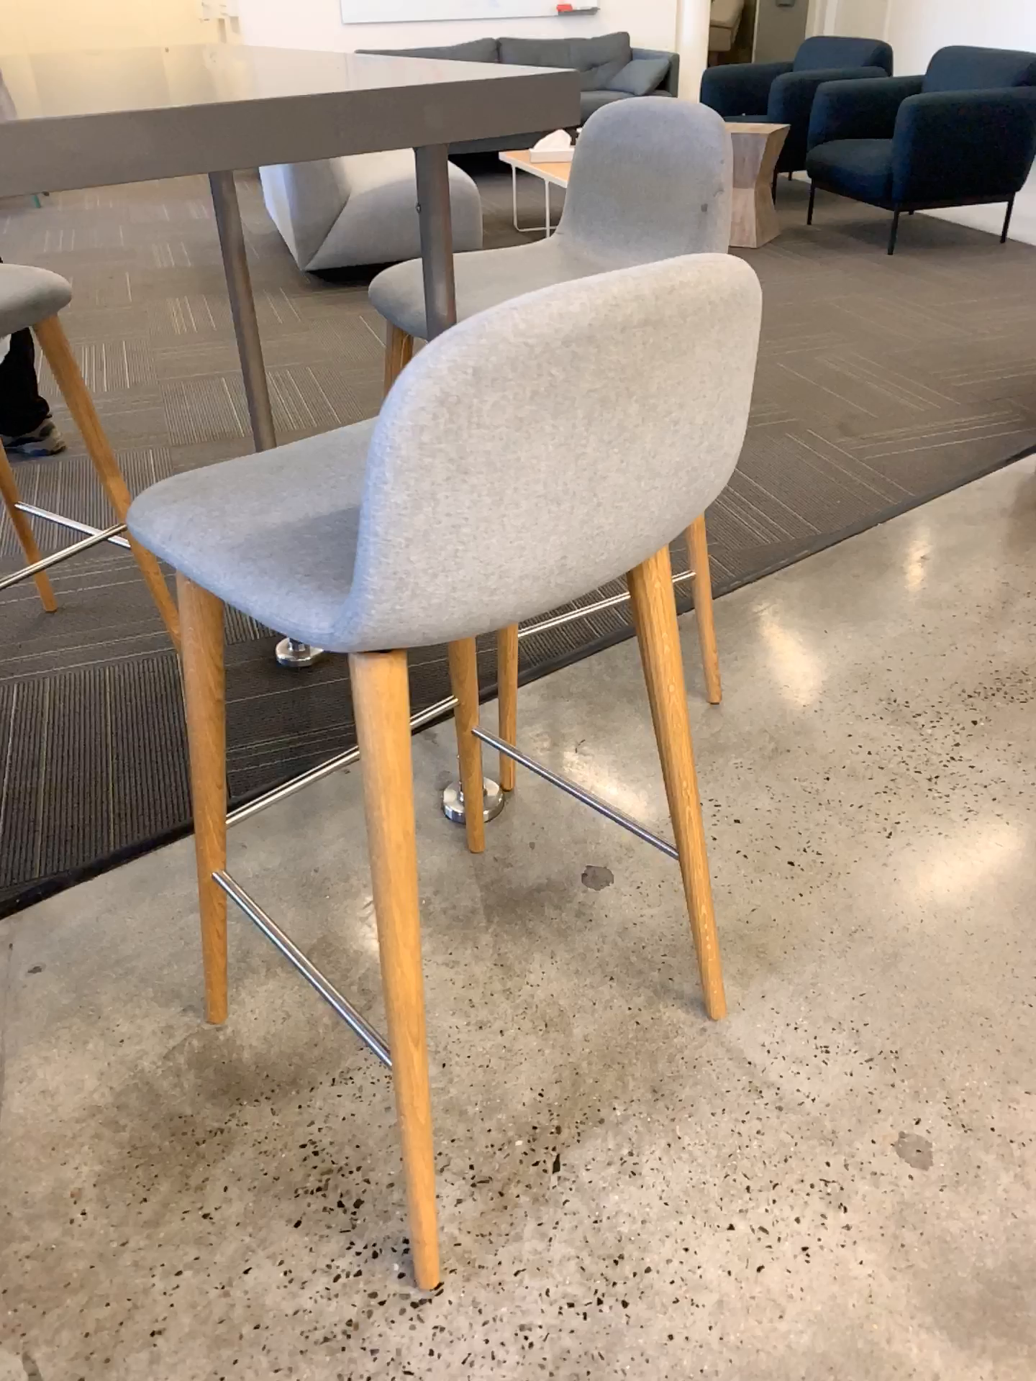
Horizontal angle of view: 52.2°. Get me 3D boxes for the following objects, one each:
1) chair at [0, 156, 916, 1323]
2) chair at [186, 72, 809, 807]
[{"bbox_3d":[-0.075,0.006,1.098,0.551,0.914,0.572,-27,41,-33],"label":"chair"},{"bbox_3d":[-0.089,-0.529,1.937,0.580,0.974,0.965,-19,38,-24],"label":"chair"}]
